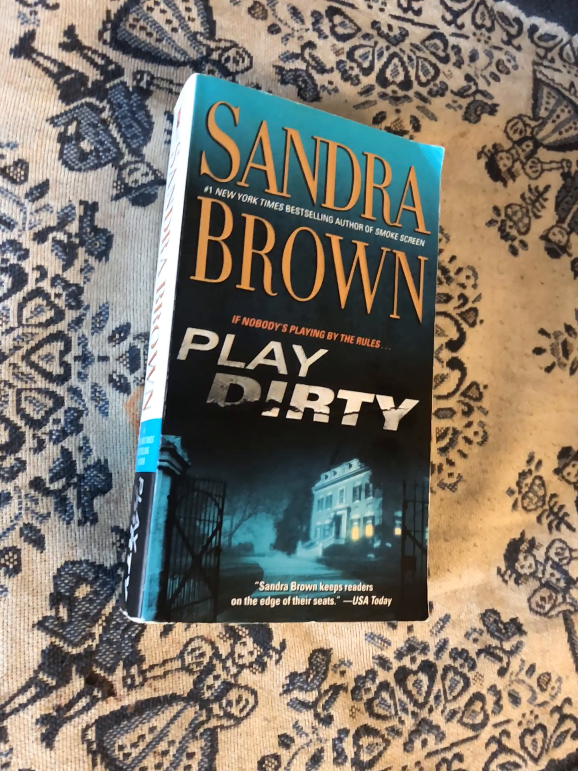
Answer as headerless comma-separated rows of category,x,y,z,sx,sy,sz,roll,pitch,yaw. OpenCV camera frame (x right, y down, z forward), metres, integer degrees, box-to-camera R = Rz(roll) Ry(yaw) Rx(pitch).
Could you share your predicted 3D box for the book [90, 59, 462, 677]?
book,0.000,-0.003,0.223,0.110,0.040,0.180,7,81,-22
